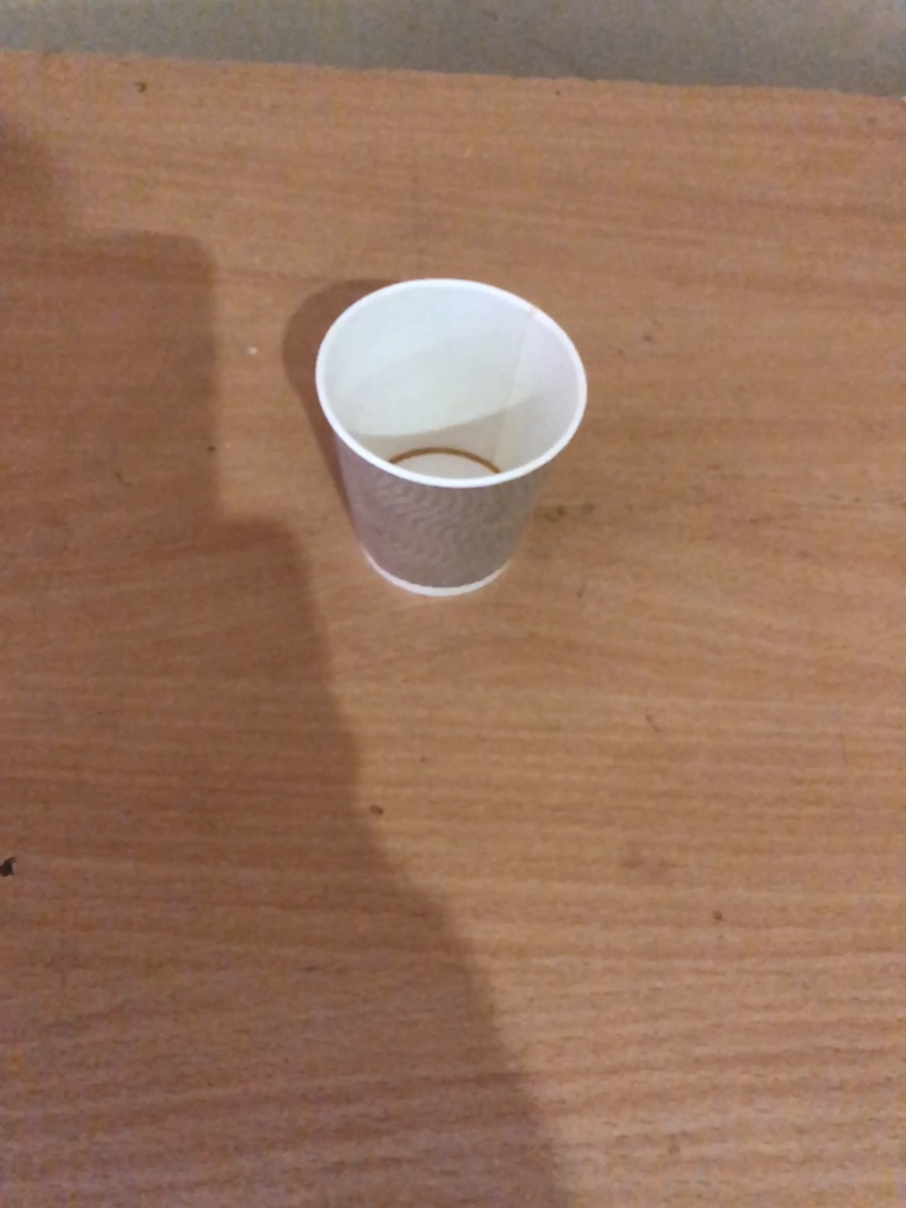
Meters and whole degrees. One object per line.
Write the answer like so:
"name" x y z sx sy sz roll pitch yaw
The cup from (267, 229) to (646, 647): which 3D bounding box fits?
"cup" -0.001 -0.046 0.288 0.067 0.064 0.074 -30 66 -17
